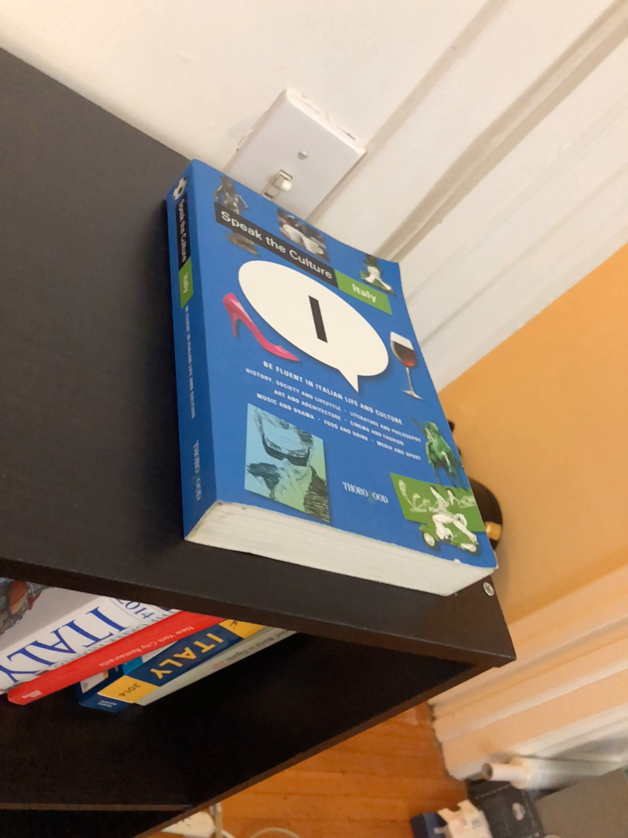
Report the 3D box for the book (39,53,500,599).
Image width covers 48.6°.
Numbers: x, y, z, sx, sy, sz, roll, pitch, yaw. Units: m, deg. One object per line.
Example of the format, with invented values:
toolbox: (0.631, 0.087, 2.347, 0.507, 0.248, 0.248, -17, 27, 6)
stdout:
book: (-0.022, -0.051, 0.348, 0.200, 0.030, 0.261, 20, 43, -35)
